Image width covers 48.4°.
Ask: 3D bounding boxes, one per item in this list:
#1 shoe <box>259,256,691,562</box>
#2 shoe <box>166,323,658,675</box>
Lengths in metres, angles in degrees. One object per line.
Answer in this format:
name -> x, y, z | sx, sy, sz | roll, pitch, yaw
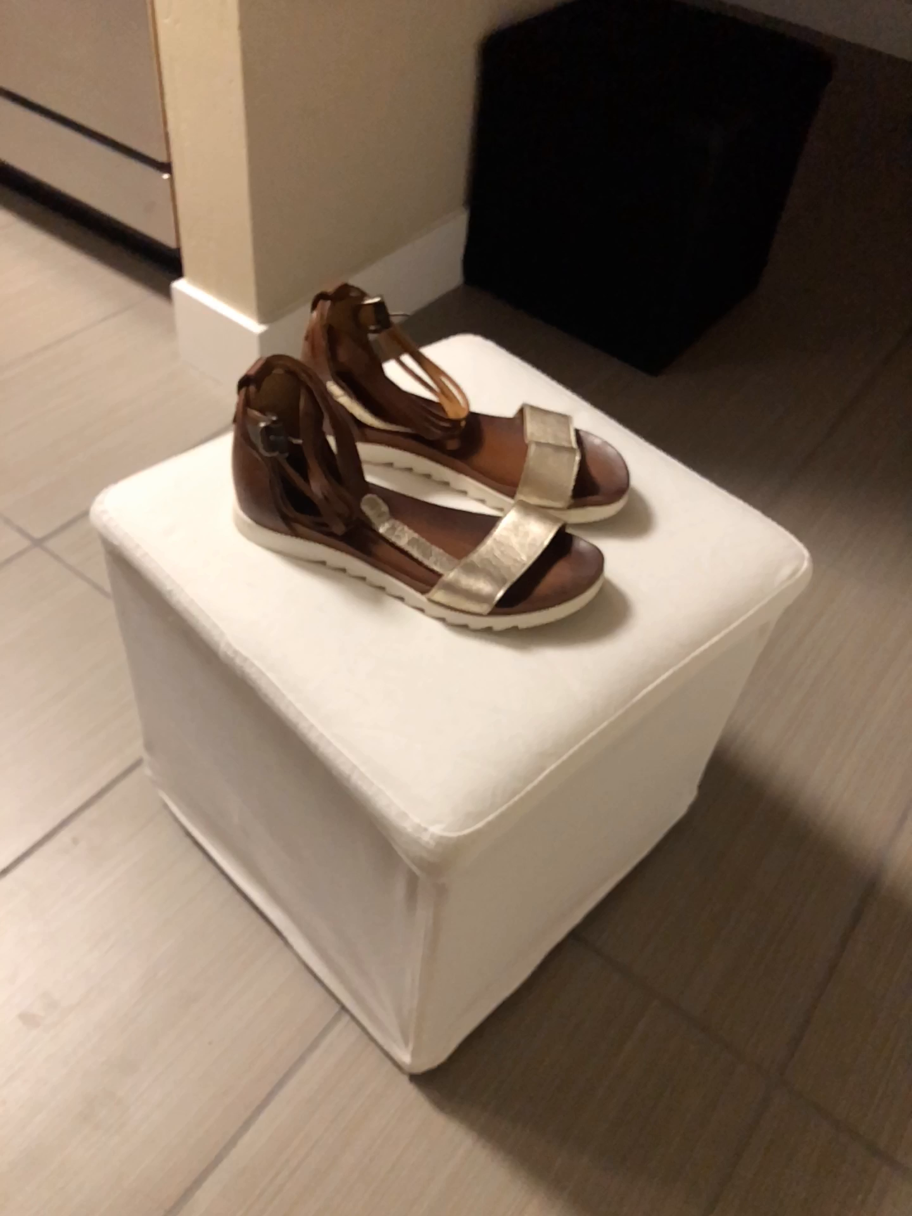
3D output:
shoe -> 0.011, -0.139, 0.691 | 0.260, 0.090, 0.111 | 19, 48, 10
shoe -> -0.026, -0.070, 0.614 | 0.260, 0.090, 0.111 | 19, 48, 10
